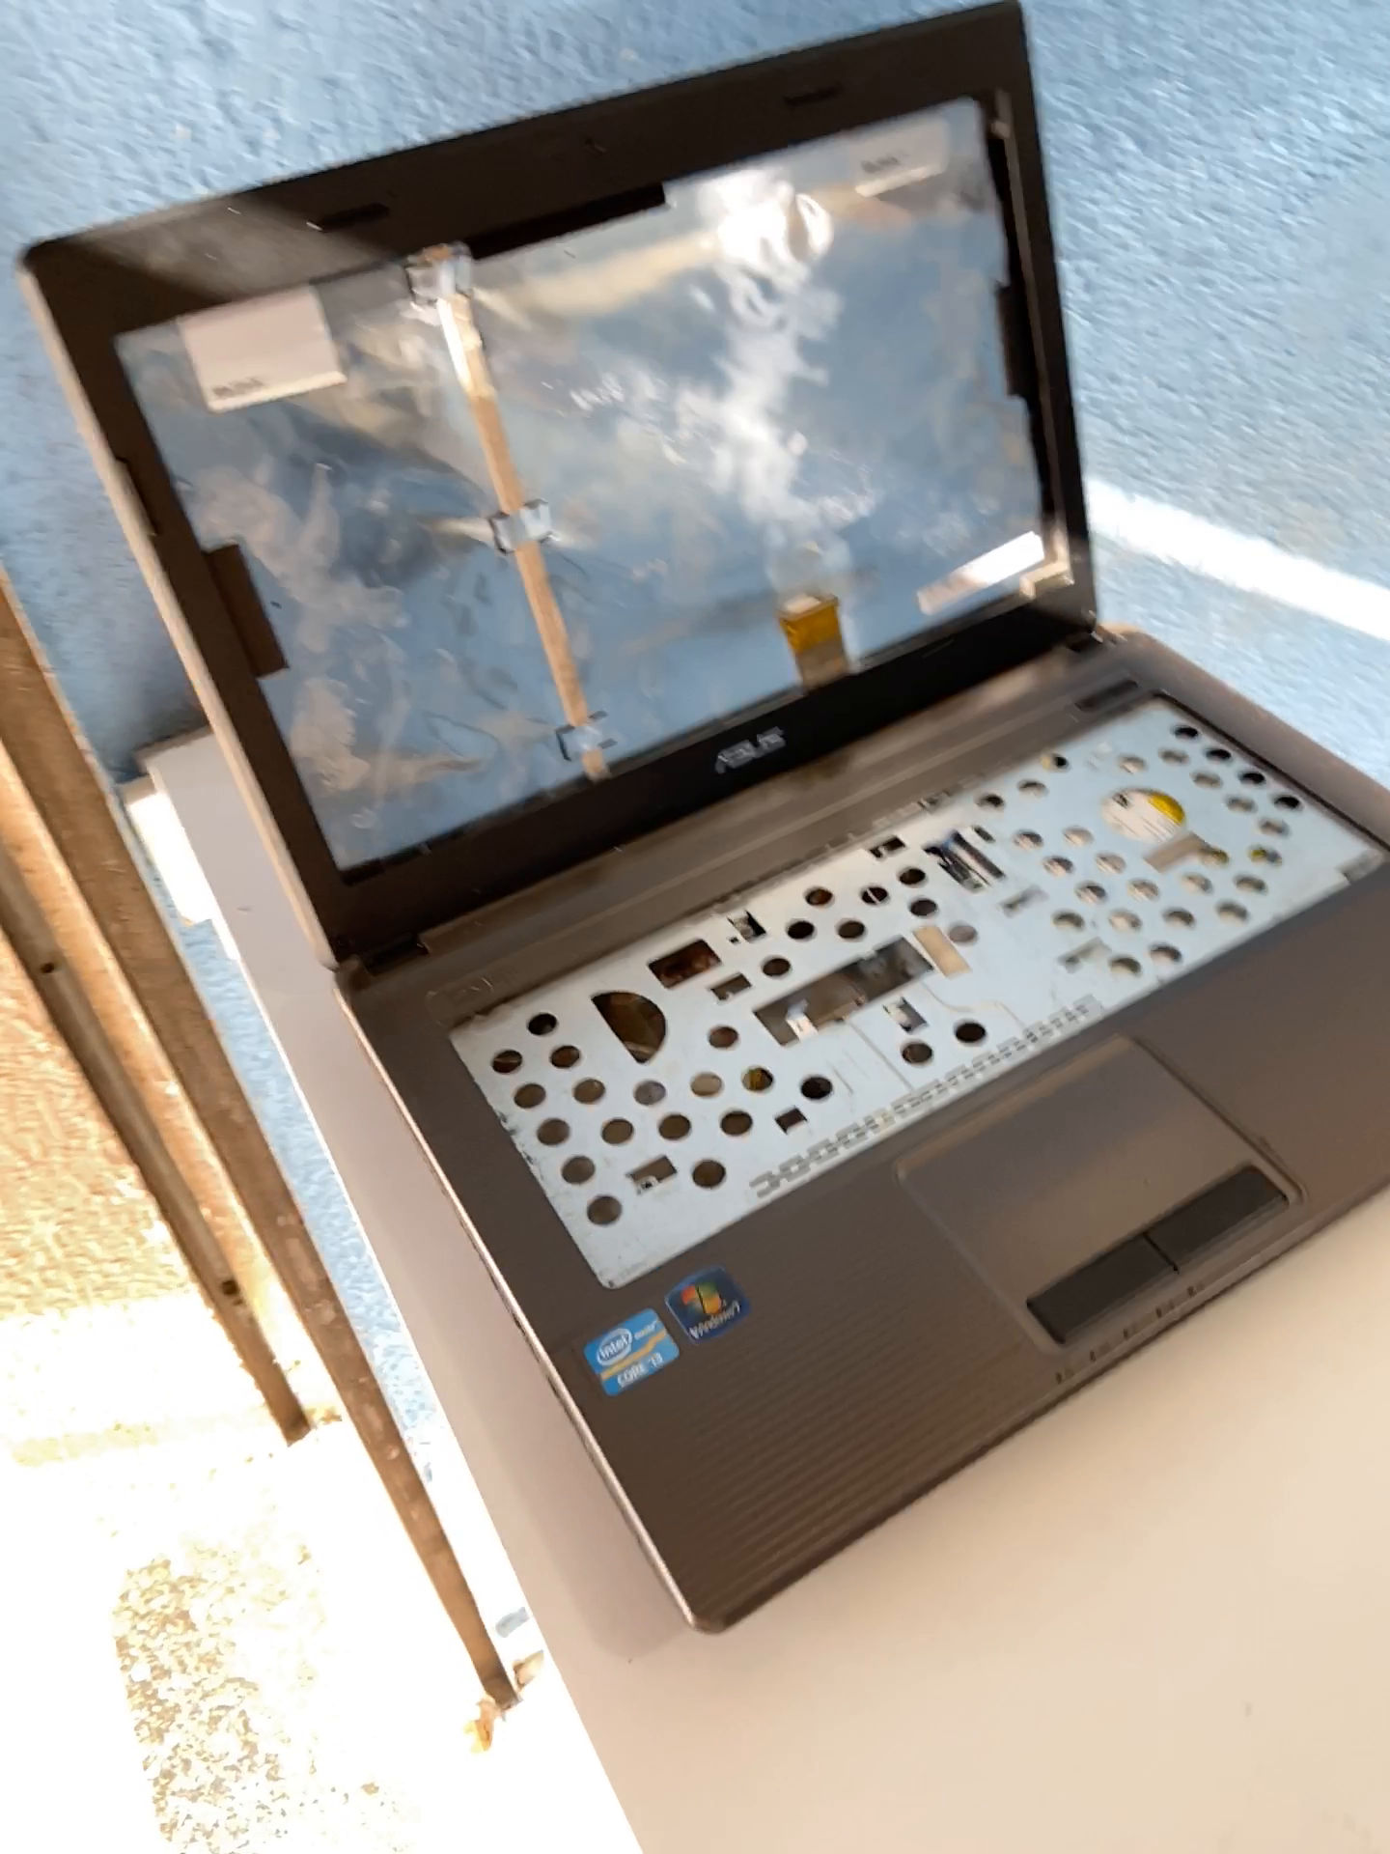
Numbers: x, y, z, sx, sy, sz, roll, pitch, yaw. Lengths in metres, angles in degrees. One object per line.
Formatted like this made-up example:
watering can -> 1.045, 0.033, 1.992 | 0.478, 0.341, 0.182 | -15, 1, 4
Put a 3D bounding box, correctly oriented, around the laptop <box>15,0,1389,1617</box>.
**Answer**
laptop -> 0.055, -0.082, 0.403 | 0.337, 0.202, 0.328 | -25, 48, -19
